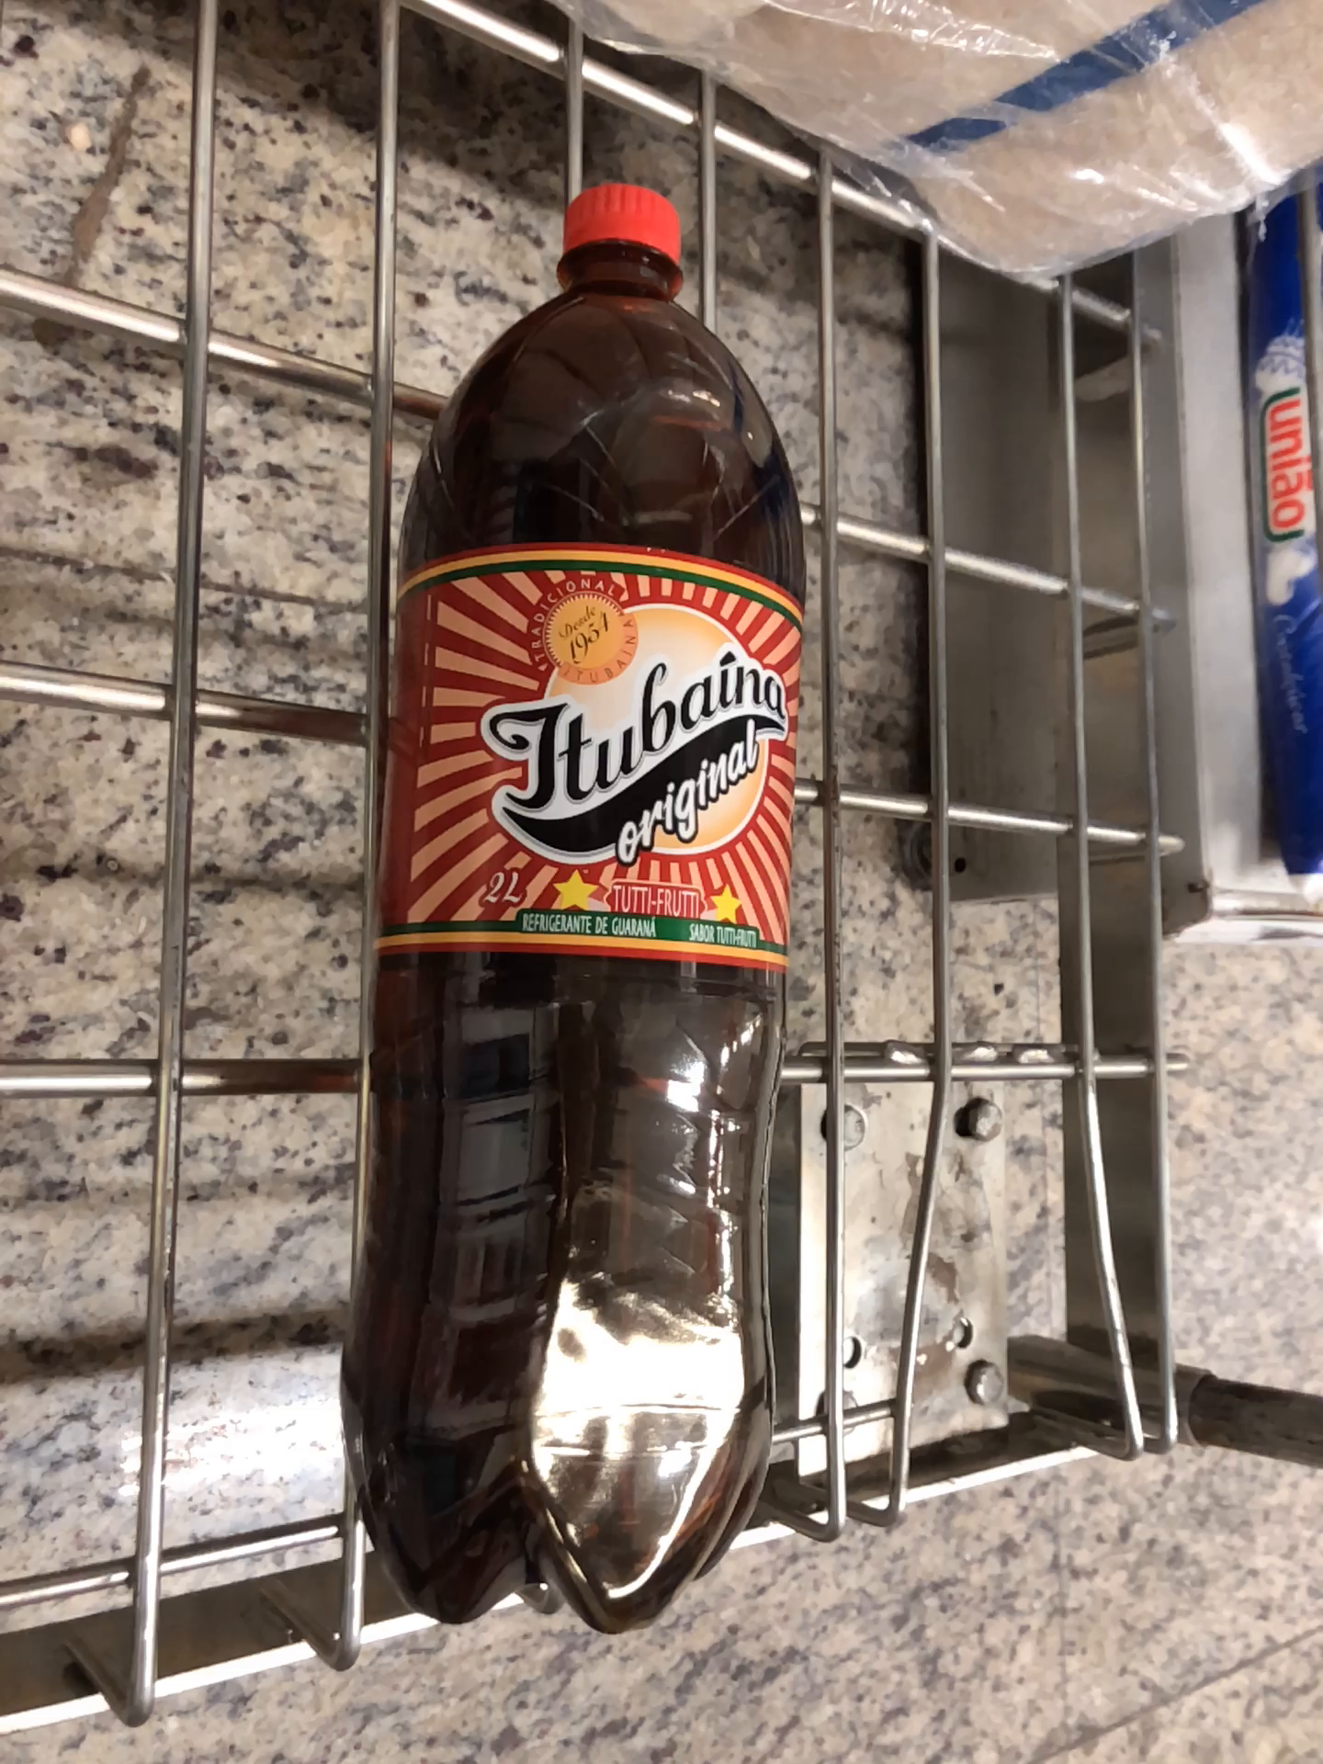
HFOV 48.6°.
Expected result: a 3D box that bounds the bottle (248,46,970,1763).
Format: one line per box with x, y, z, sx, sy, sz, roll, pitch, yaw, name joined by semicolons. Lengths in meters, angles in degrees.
-0.007;0.005;0.327;0.111;0.070;0.320;9;83;-35;bottle
